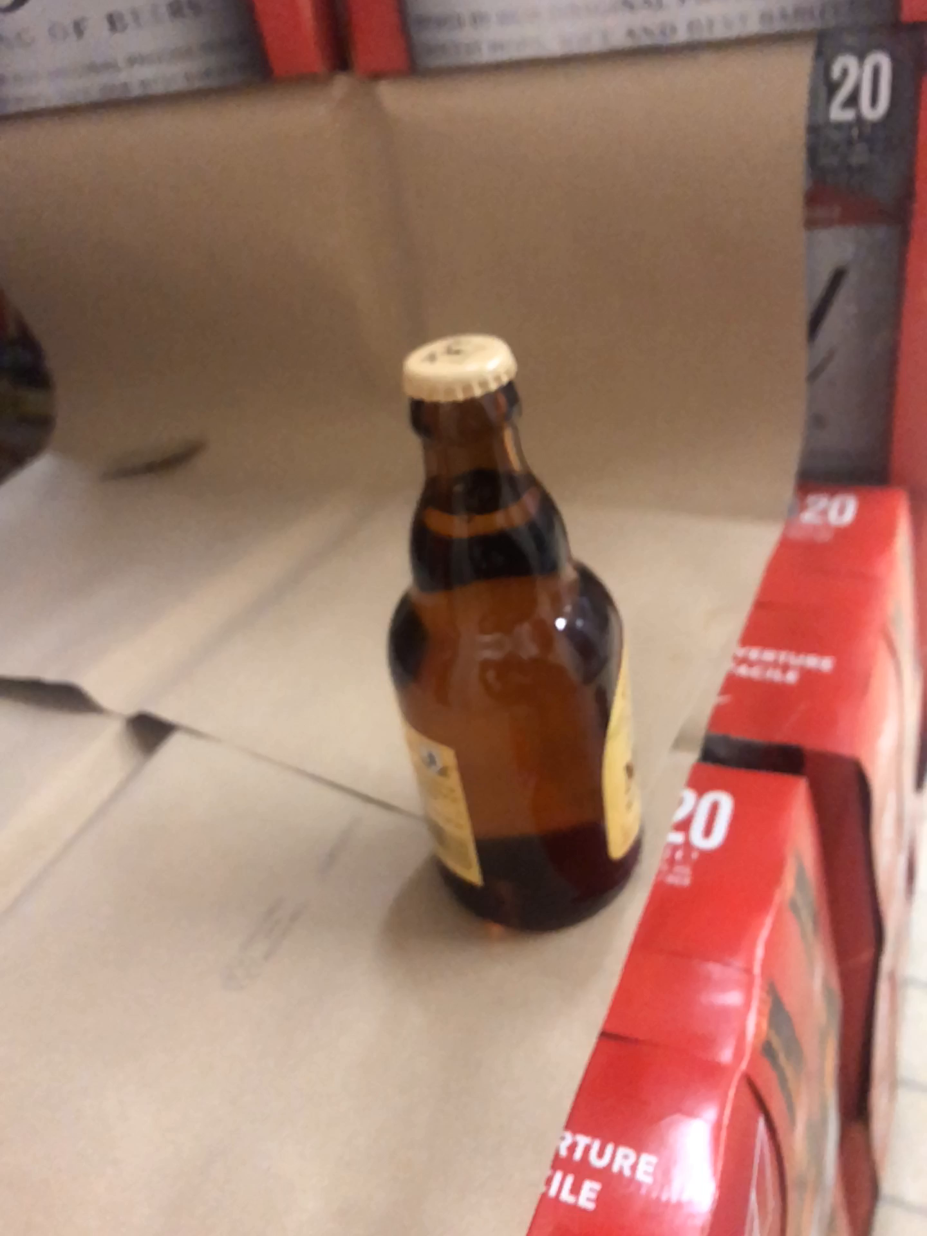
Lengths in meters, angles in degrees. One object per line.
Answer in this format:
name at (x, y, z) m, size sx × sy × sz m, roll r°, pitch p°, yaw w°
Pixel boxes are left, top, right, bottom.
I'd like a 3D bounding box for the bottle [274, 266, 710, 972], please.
bottle at (0.012, 0.003, 0.293) m, size 0.080 × 0.166 × 0.080 m, roll -8°, pitch 34°, yaw 5°
